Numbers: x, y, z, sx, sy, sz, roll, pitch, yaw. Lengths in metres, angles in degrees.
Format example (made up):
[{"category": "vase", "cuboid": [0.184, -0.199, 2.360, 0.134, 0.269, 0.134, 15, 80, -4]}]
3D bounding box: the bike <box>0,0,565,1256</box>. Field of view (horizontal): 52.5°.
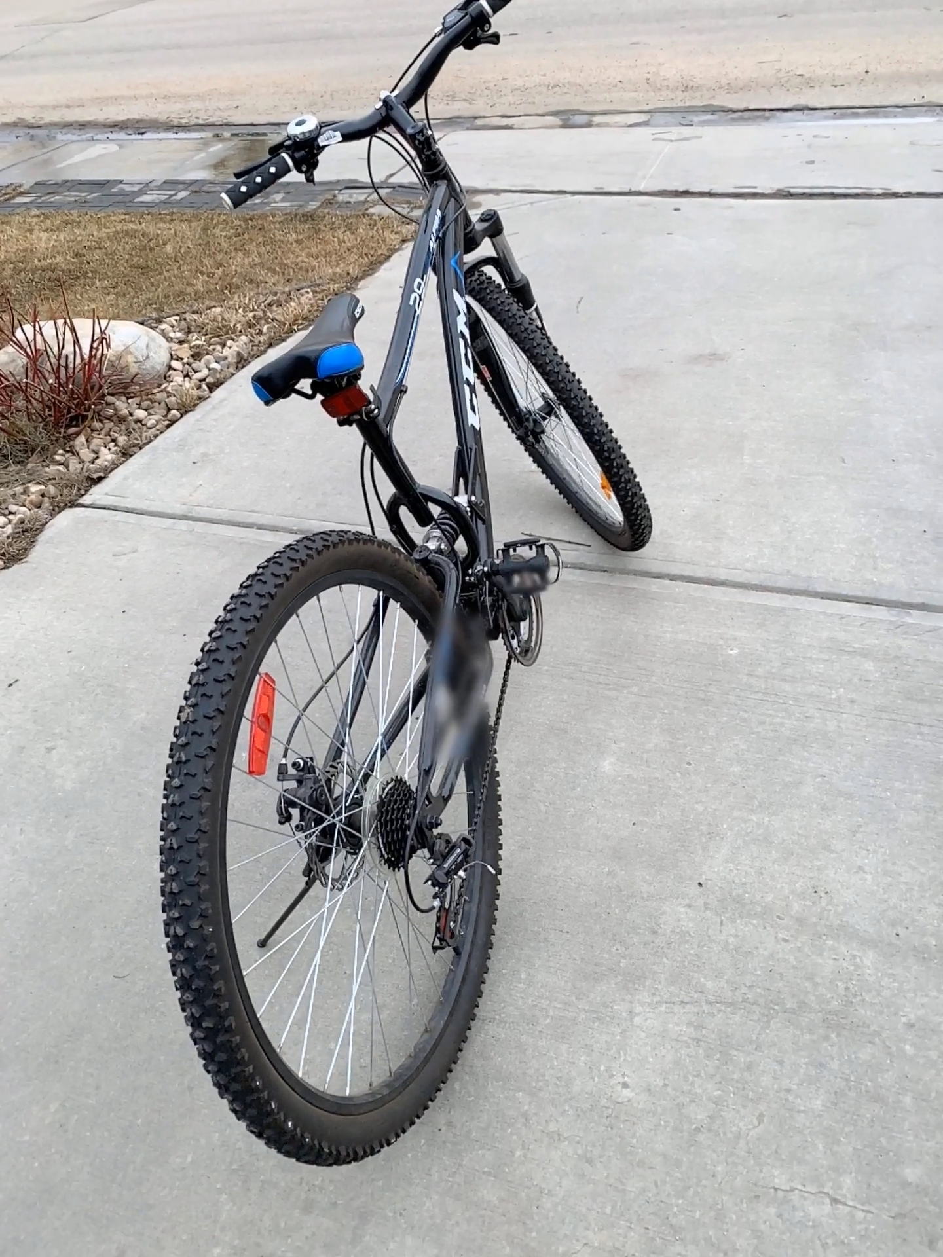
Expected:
[{"category": "bike", "cuboid": [-0.205, -0.240, 1.496, 0.627, 1.173, 1.798, 0, 41, 8]}]
